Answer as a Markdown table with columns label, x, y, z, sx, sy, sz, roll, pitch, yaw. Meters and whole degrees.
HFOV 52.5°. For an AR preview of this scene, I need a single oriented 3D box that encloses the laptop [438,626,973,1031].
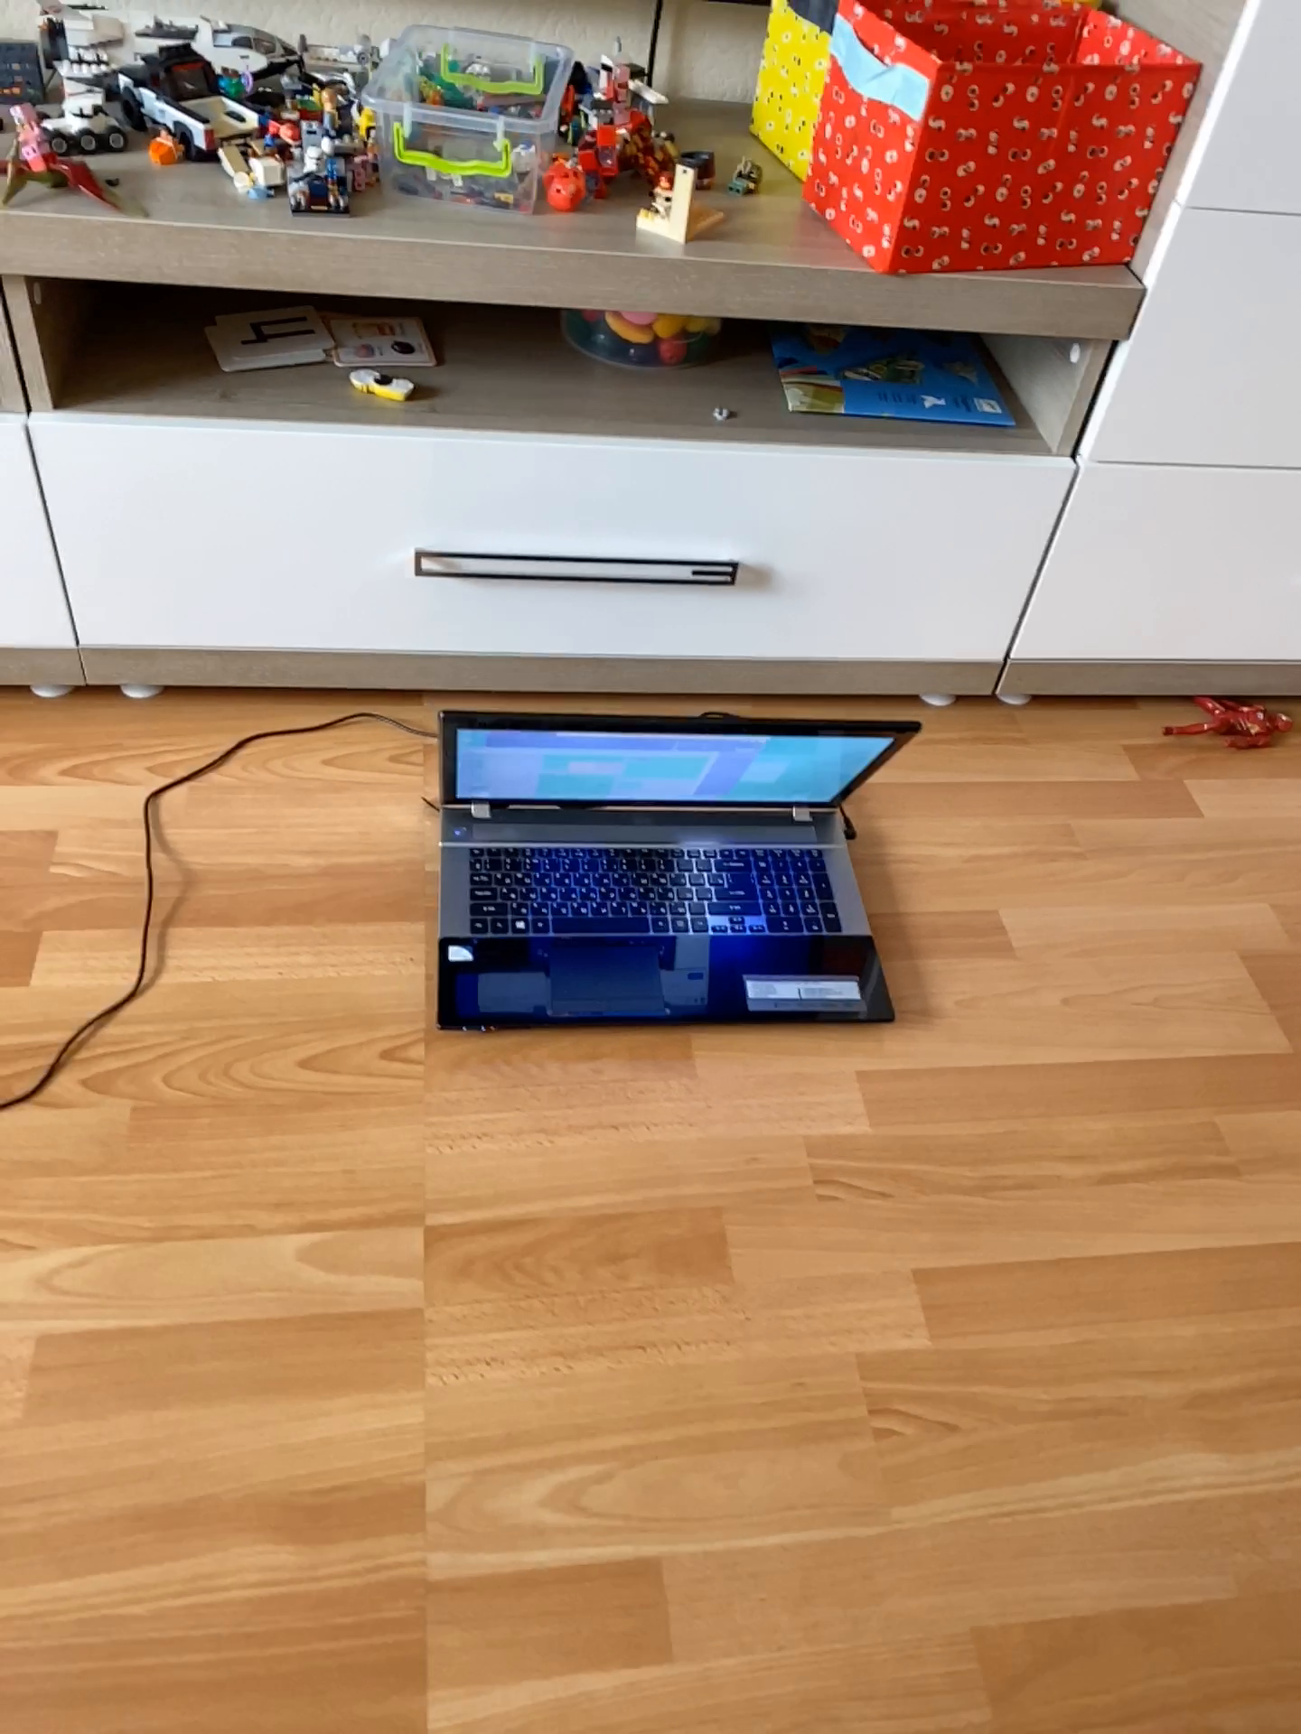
| label | x | y | z | sx | sy | sz | roll | pitch | yaw |
| --- | --- | --- | --- | --- | --- | --- | --- | --- | --- |
| laptop | 0.024 | -0.034 | 1.181 | 0.412 | 0.233 | 0.270 | 1 | 45 | -8 |
